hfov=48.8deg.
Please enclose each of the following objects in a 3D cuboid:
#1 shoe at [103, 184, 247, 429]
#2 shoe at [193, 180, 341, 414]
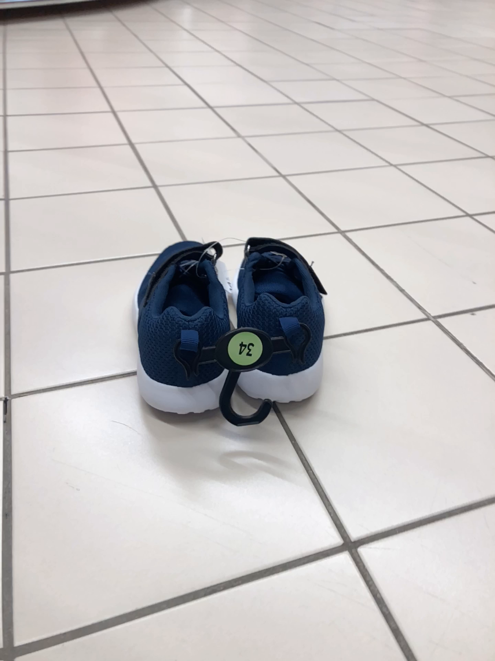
[{"bbox_3d":[-0.068,-0.038,0.480,0.093,0.095,0.239,-3,36,-9],"label":"shoe"},{"bbox_3d":[0.024,-0.046,0.501,0.102,0.094,0.237,6,36,4],"label":"shoe"}]
